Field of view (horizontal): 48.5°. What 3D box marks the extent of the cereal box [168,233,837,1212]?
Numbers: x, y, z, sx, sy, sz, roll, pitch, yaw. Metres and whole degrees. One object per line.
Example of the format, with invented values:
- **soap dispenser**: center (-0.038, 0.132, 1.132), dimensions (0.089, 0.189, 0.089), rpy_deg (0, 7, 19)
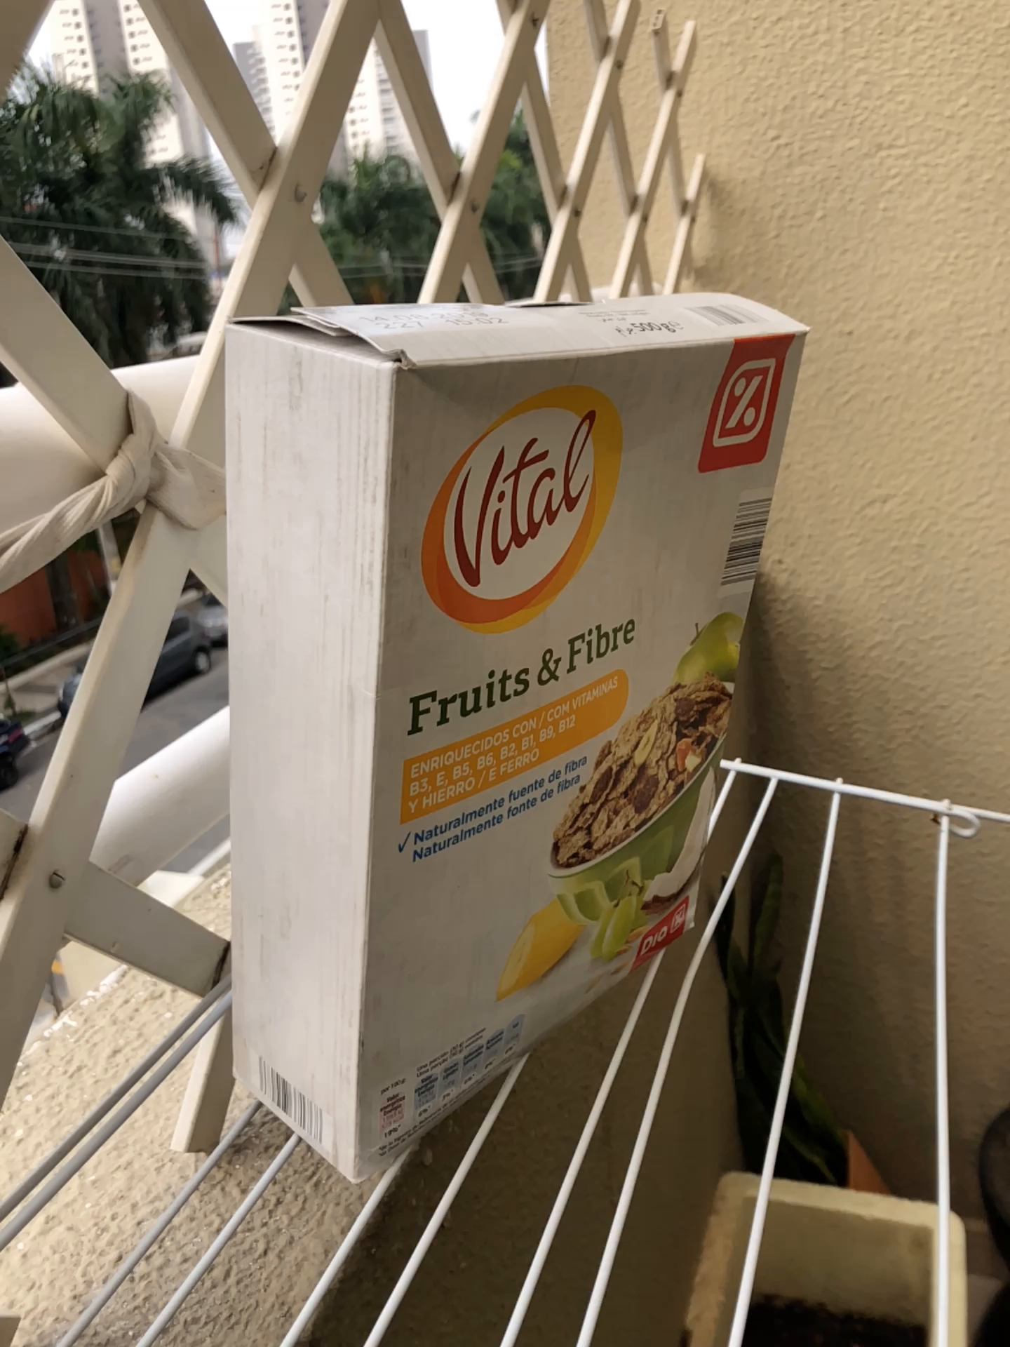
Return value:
- **cereal box**: center (0.004, 0.001, 0.377), dimensions (0.070, 0.268, 0.211), rpy_deg (24, 30, 36)
